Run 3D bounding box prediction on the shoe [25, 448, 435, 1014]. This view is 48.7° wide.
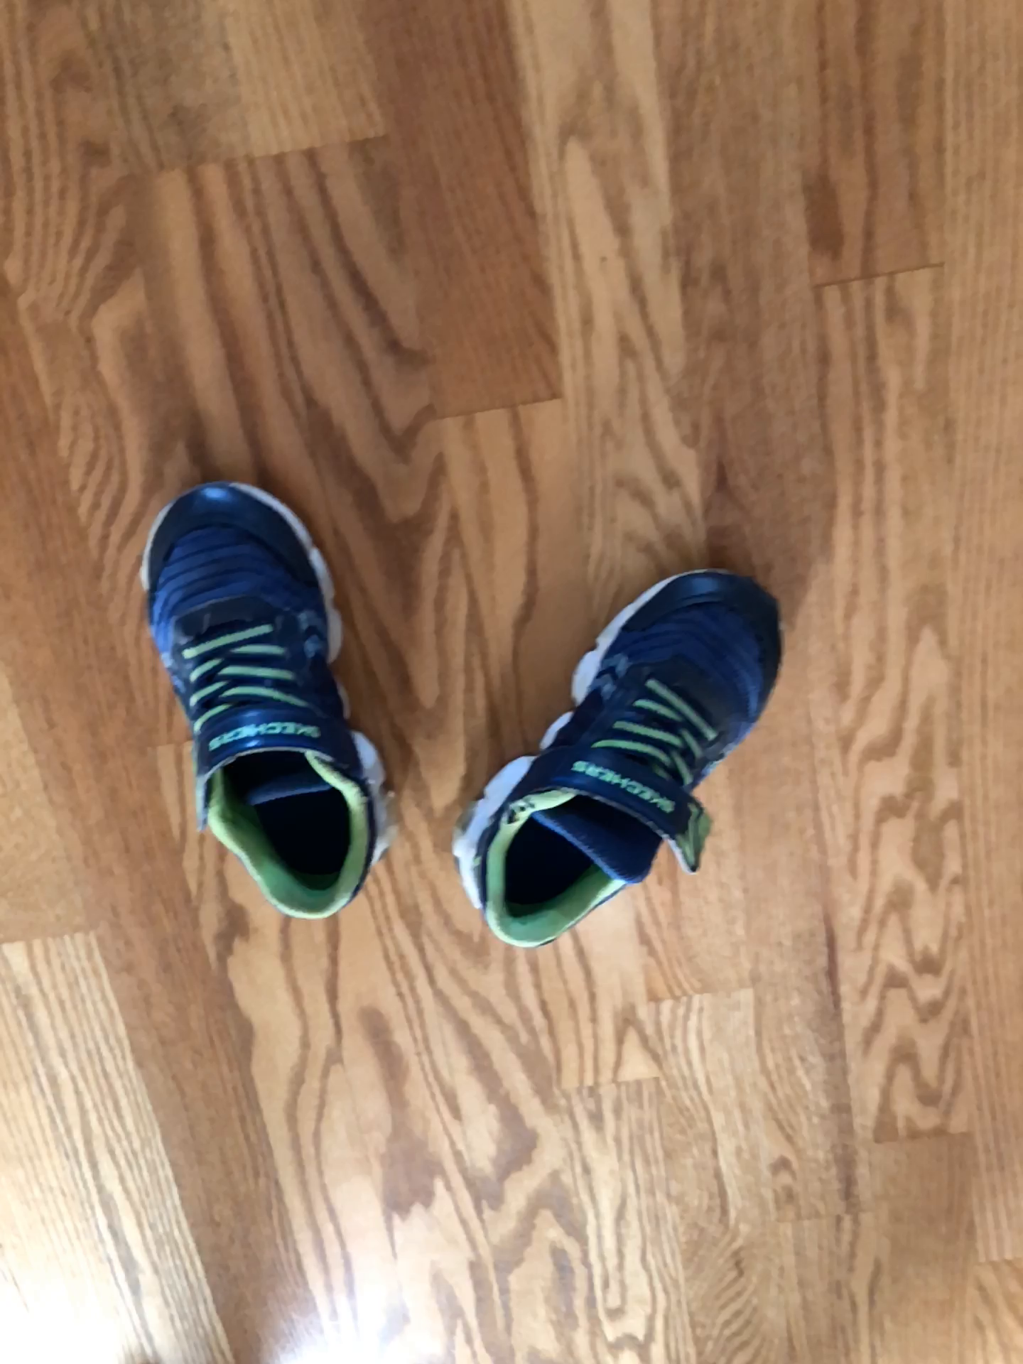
[{"bbox_3d":[-0.105,0.019,0.477,0.093,0.095,0.203,-13,110,3],"label":"shoe"}]

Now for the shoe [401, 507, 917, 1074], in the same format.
[{"bbox_3d":[0.053,0.046,0.486,0.093,0.087,0.212,33,106,-12],"label":"shoe"}]
